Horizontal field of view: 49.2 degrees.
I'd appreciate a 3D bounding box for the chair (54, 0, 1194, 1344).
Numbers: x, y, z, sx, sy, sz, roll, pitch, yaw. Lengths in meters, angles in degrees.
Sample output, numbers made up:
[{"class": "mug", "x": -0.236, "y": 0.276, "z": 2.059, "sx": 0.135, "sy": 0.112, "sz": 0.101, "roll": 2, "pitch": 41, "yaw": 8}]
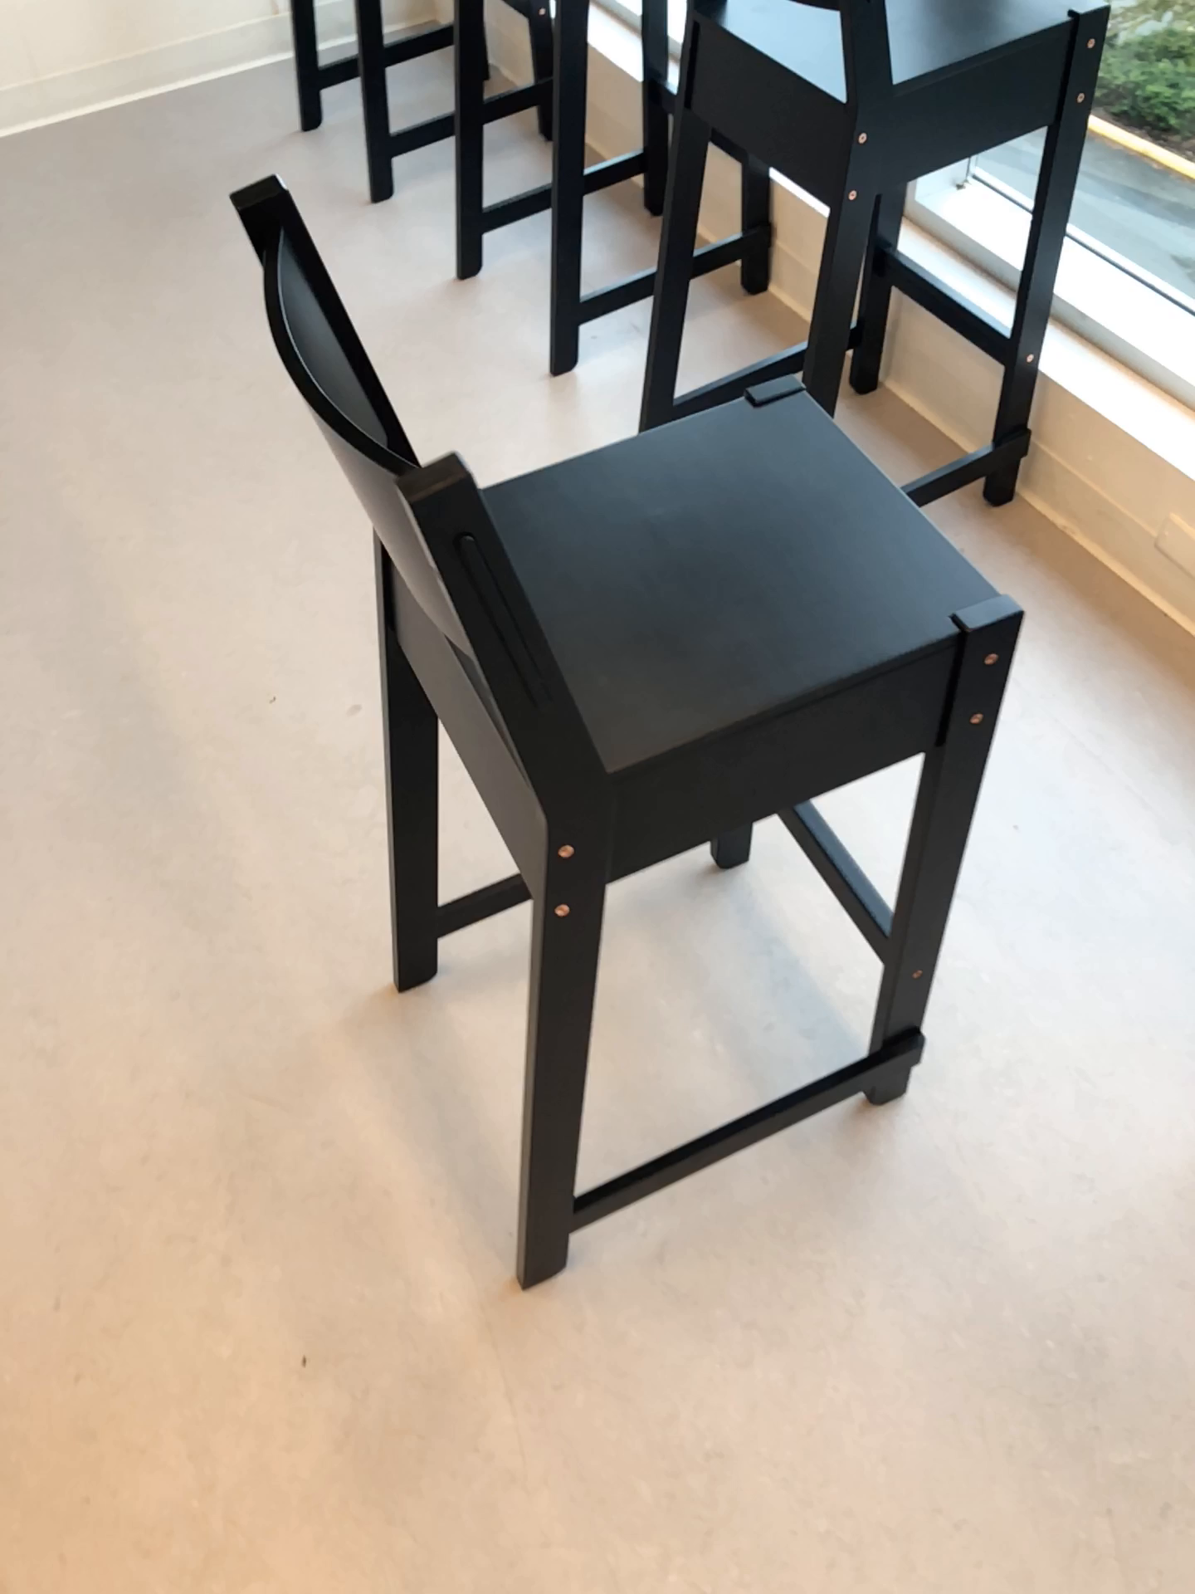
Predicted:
[{"class": "chair", "x": 0.048, "y": -0.062, "z": 1.142, "sx": 0.580, "sy": 0.994, "sz": 0.553, "roll": -21, "pitch": 53, "yaw": -13}]
